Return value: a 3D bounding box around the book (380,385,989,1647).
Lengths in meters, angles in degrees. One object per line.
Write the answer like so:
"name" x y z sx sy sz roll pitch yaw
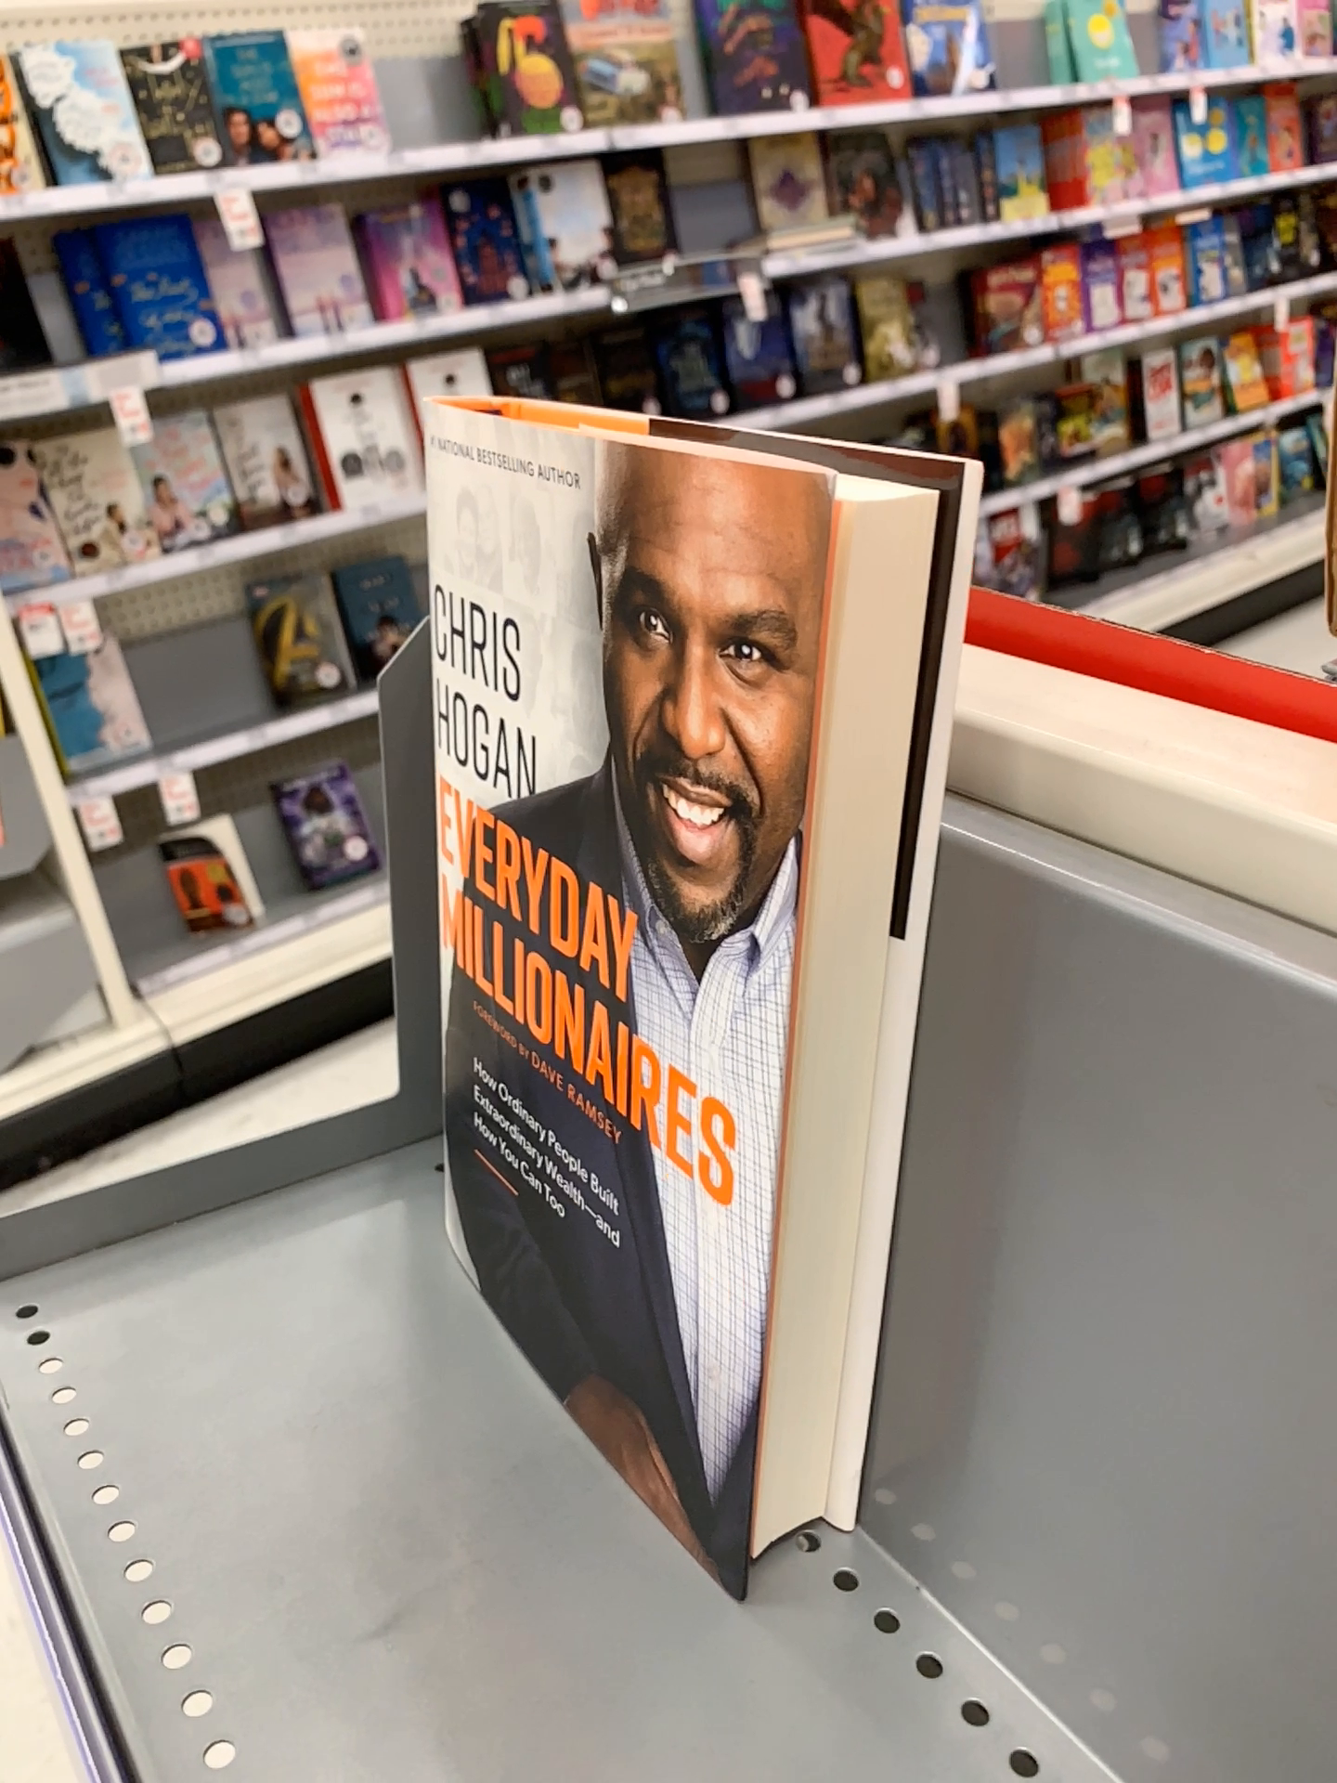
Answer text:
"book" -0.013 0.017 0.318 0.037 0.241 0.161 -12 27 -31
